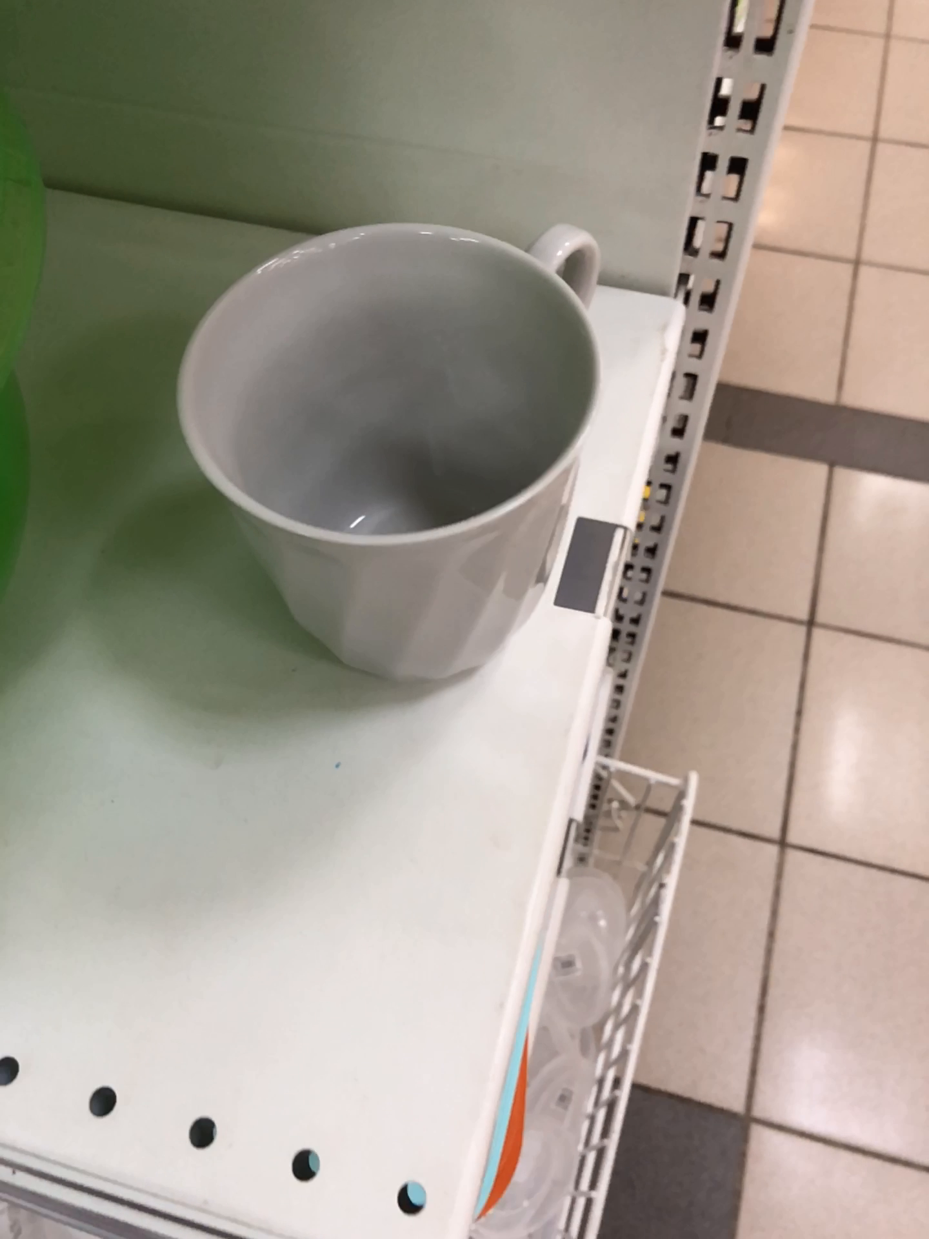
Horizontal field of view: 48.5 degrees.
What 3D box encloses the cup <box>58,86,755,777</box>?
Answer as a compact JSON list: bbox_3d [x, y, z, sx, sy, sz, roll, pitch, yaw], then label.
[{"bbox_3d":[-0.009,-0.046,0.252,0.090,0.080,0.119,38,70,20],"label":"cup"}]
